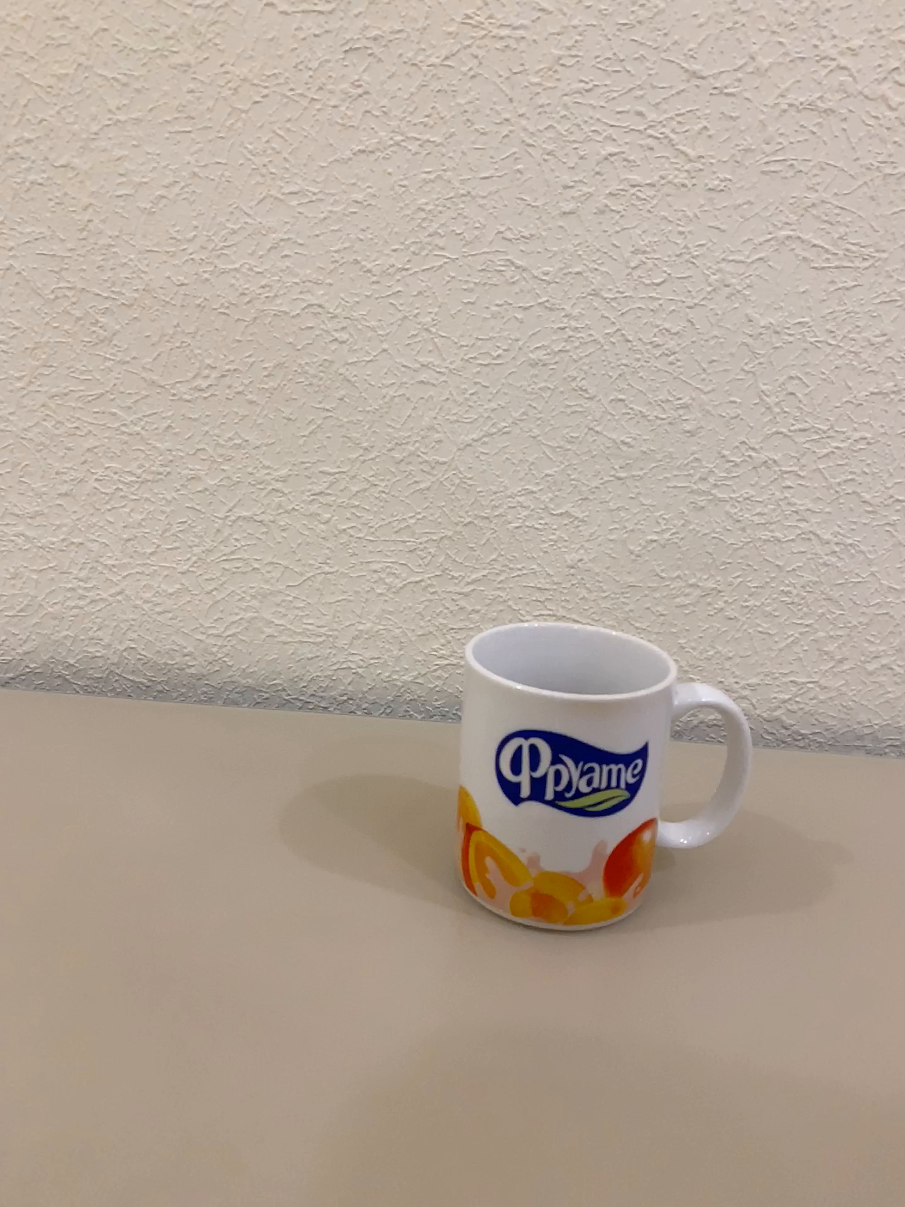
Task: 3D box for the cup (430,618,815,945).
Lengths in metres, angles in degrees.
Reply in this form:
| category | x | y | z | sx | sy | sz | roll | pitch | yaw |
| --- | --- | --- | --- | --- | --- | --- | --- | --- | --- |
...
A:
| category | x | y | z | sx | sy | sz | roll | pitch | yaw |
| --- | --- | --- | --- | --- | --- | --- | --- | --- | --- |
| cup | 0.056 | 0.063 | 0.354 | 0.116 | 0.092 | 0.081 | 1 | 17 | -8 |
